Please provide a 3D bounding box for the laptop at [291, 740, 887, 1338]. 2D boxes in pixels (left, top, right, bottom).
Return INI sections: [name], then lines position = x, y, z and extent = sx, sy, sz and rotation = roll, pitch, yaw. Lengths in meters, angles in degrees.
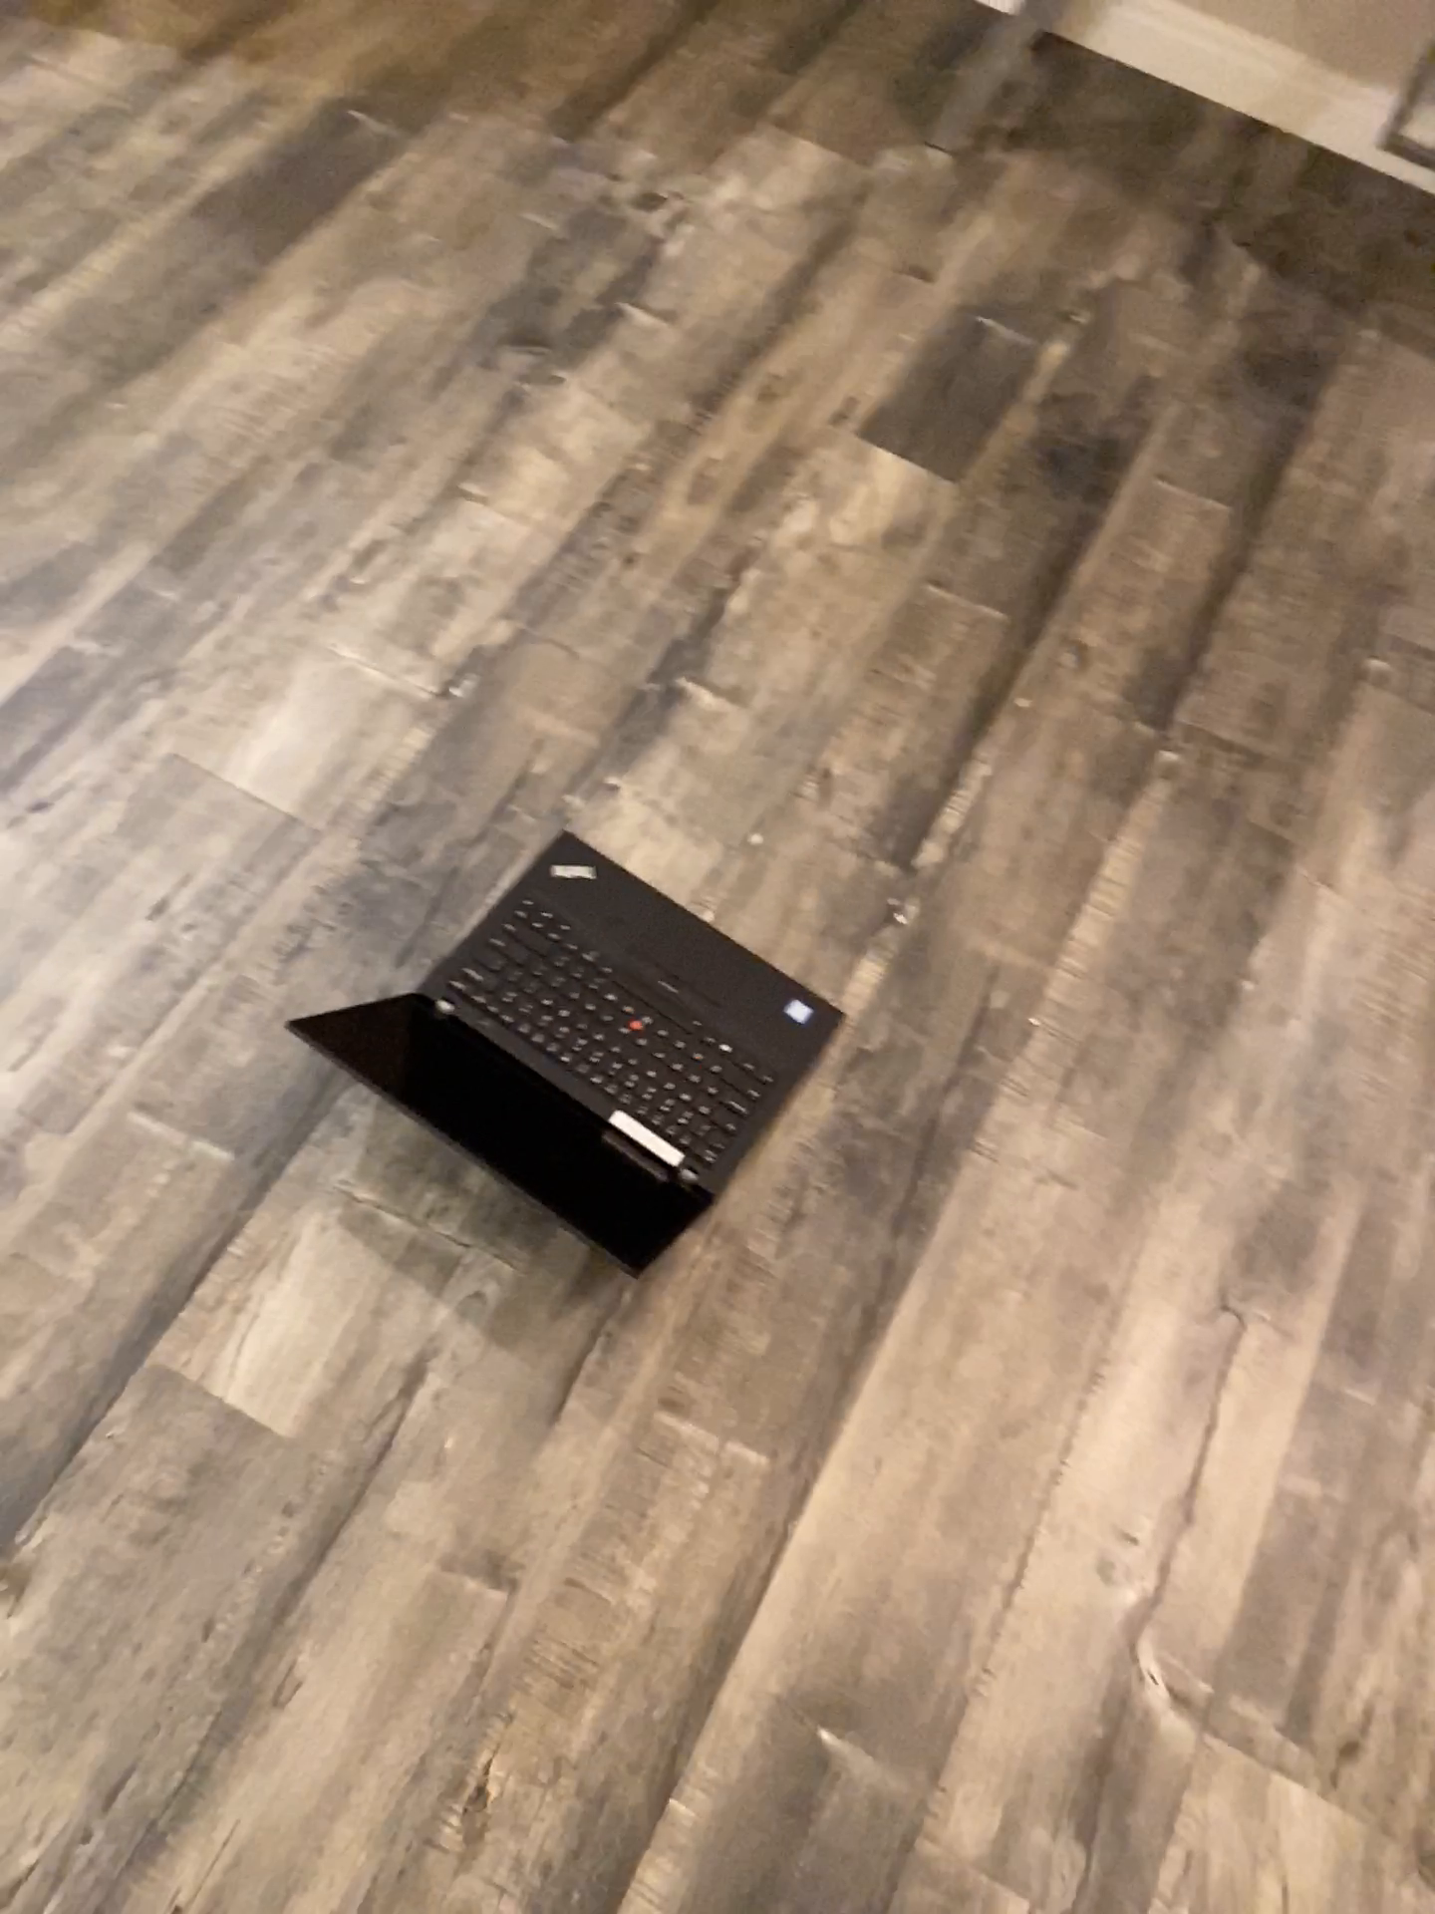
[laptop]
position = -0.096, 0.055, 1.197
extent = 0.319, 0.149, 0.356
rotation = 33, 59, 10
